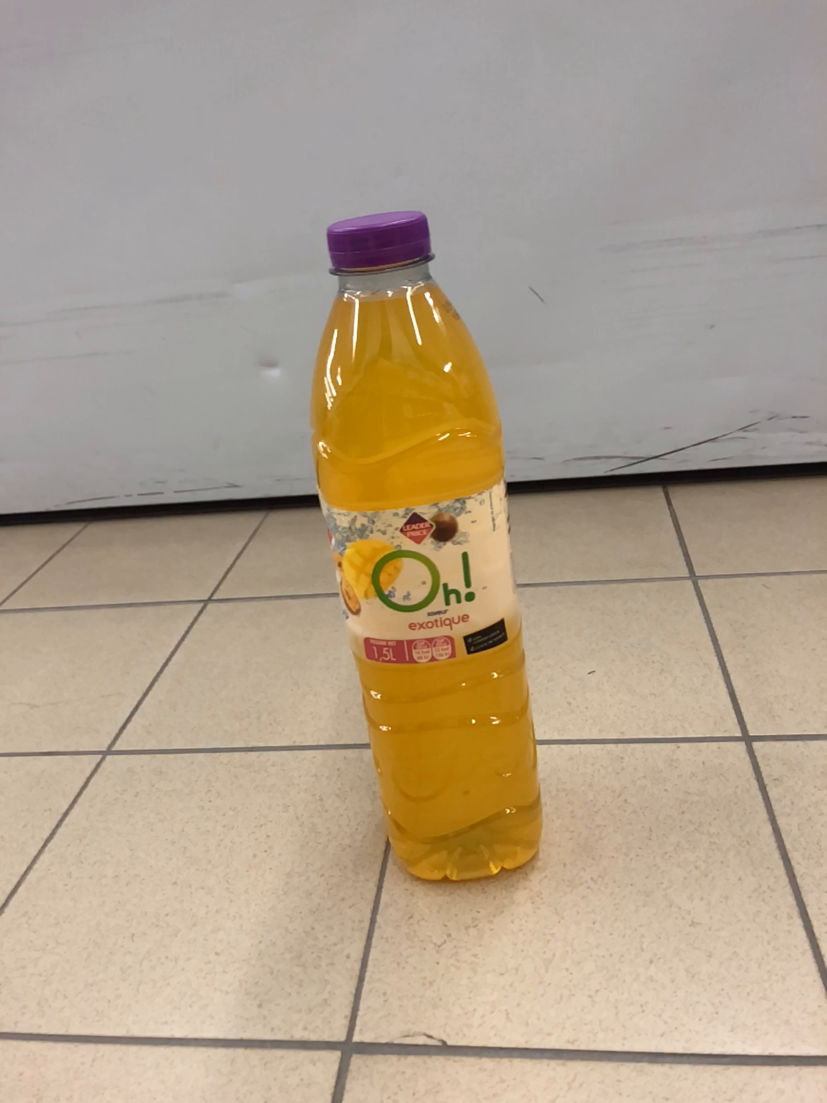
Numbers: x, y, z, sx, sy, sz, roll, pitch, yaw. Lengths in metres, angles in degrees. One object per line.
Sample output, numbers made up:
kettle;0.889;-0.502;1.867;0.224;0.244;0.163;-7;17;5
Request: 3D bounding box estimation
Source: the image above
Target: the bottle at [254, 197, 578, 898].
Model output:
bottle;0.010;0.006;0.416;0.100;0.299;0.090;-7;24;1
